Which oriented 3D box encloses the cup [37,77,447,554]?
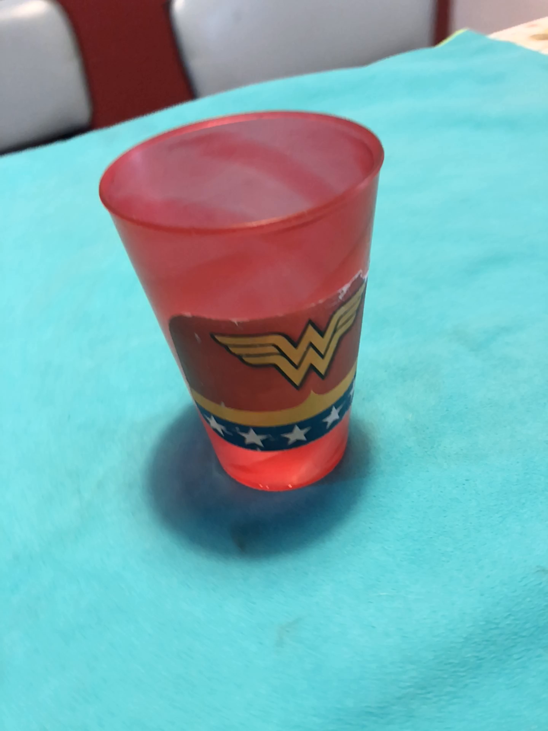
[{"bbox_3d":[-0.010,-0.020,0.211,0.090,0.109,0.091,-5,41,4],"label":"cup"}]
